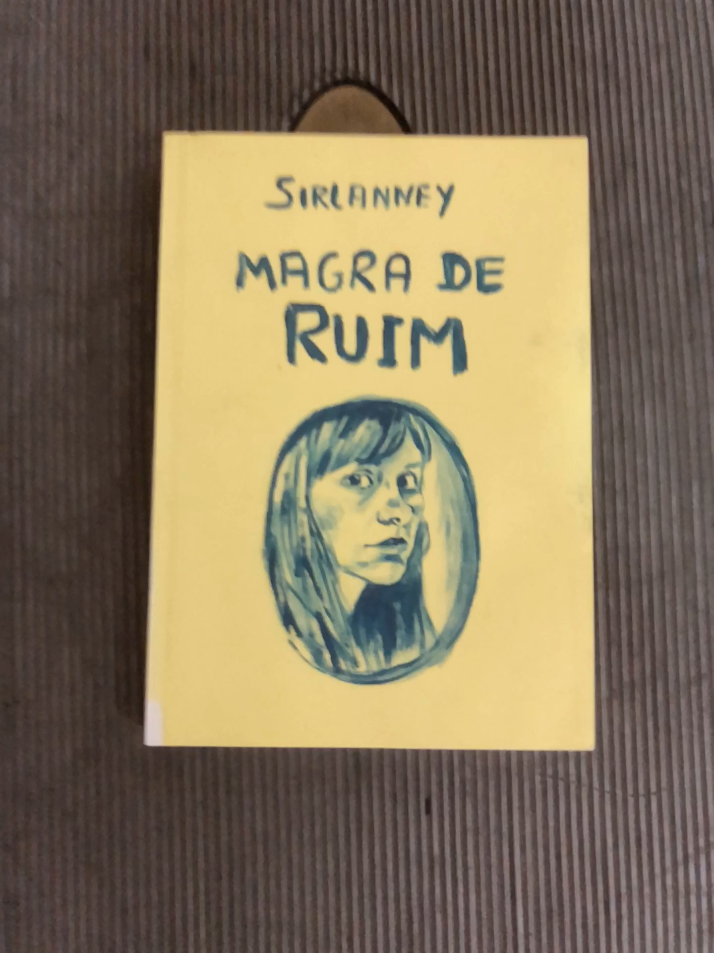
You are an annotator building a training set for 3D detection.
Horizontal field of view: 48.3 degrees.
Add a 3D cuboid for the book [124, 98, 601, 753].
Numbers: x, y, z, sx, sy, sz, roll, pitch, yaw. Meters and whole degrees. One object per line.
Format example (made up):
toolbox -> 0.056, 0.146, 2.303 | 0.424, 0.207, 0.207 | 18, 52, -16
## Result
book -> 0.004, -0.018, 0.268 | 0.150, 0.020, 0.210 | 1, 87, 0
